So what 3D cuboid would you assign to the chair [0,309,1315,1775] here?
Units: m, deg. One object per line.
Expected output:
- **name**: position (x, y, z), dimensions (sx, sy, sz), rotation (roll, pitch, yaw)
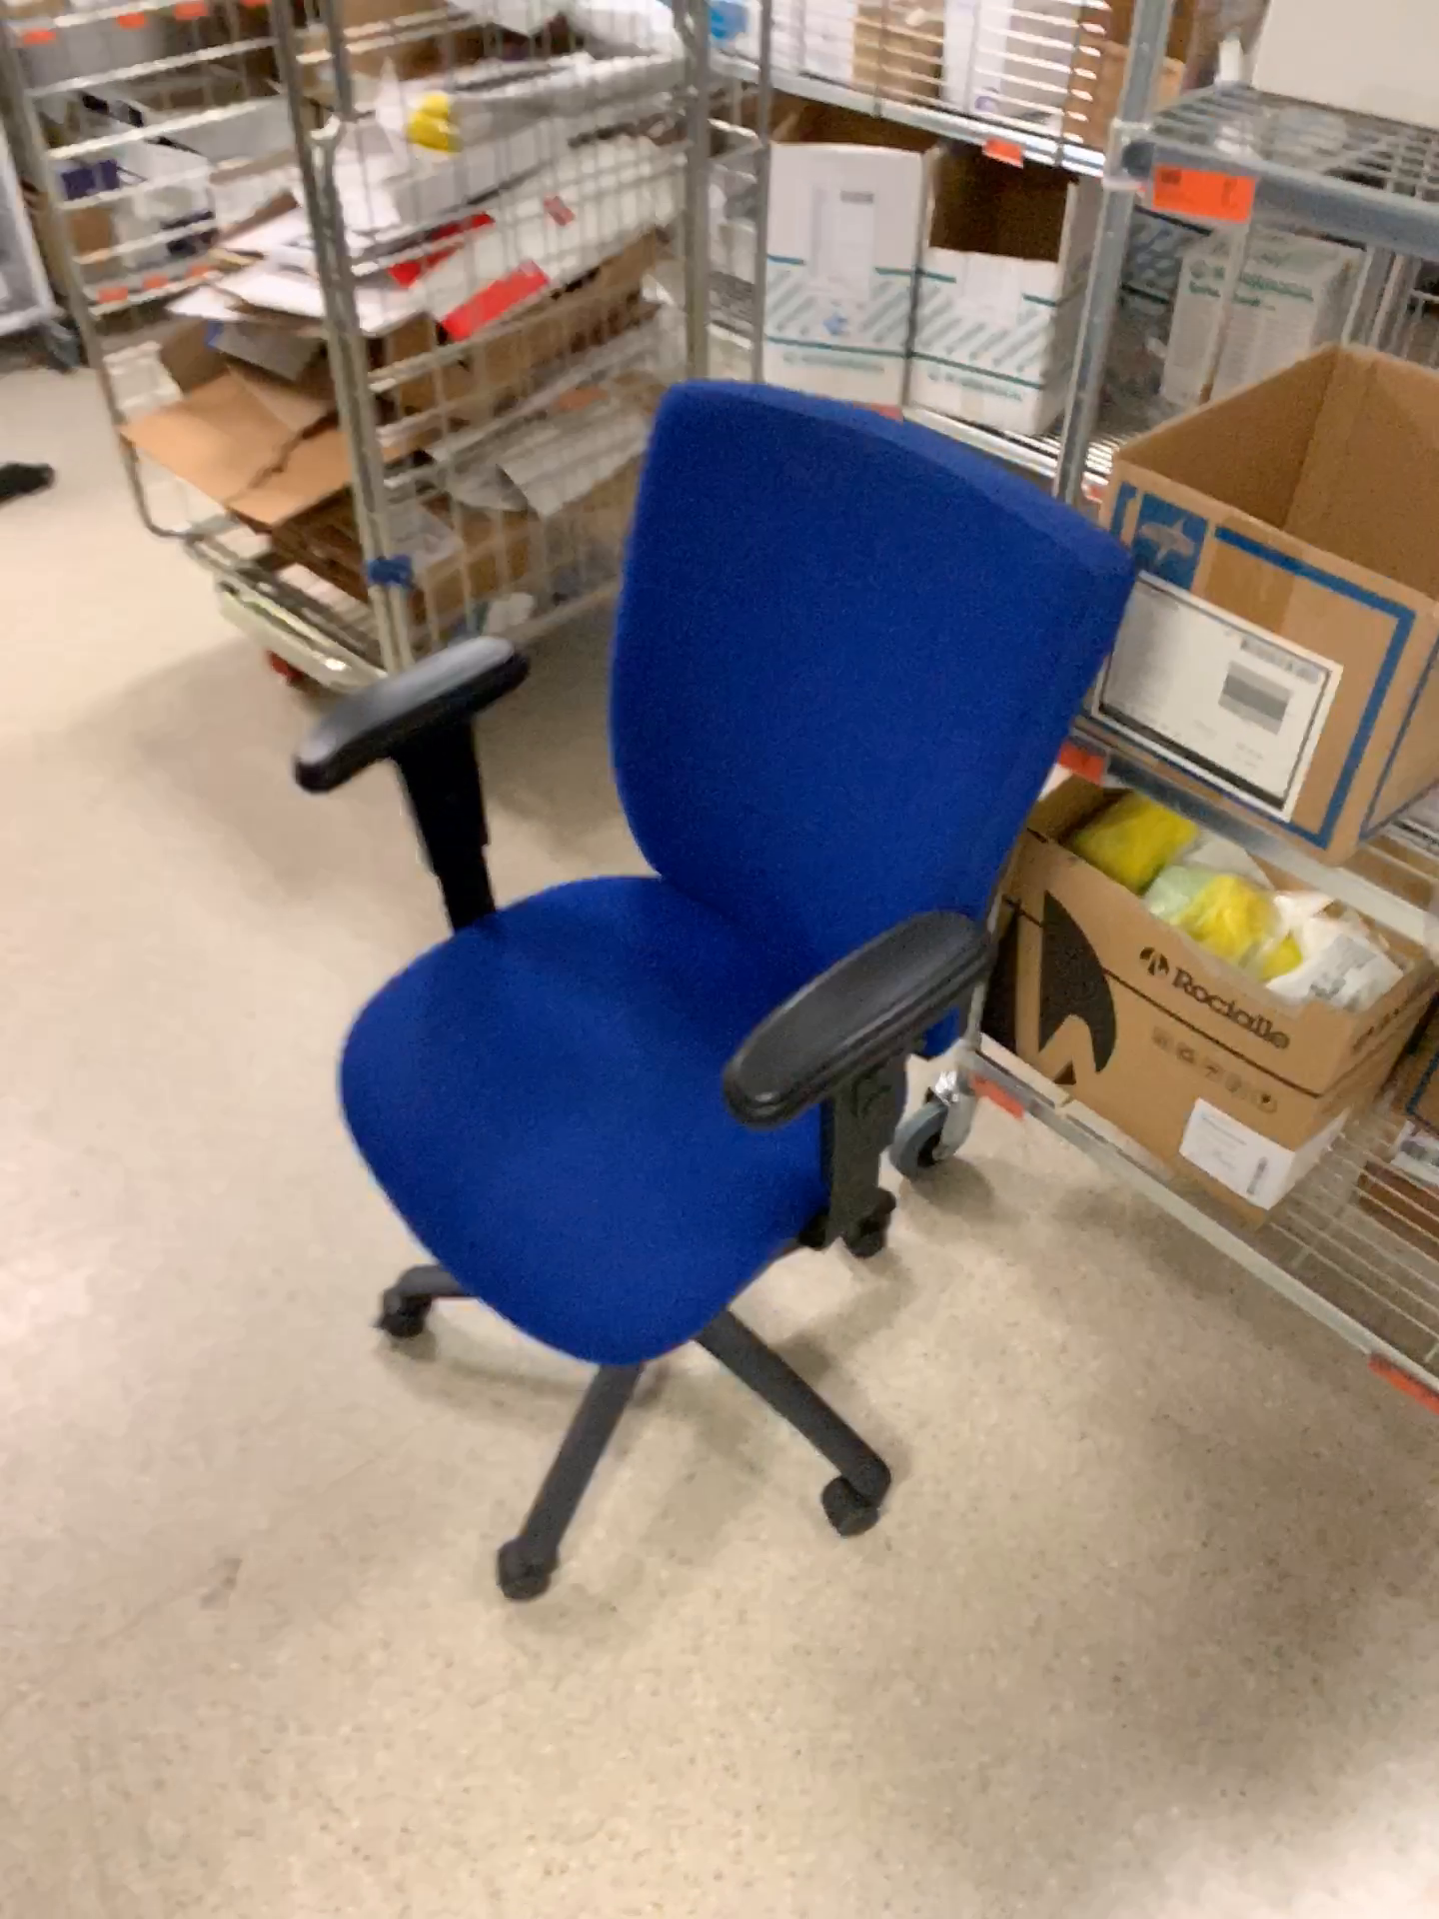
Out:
- **chair**: position (-0.076, 0.066, 1.334), dimensions (0.668, 0.950, 0.682), rotation (-30, 51, -28)
